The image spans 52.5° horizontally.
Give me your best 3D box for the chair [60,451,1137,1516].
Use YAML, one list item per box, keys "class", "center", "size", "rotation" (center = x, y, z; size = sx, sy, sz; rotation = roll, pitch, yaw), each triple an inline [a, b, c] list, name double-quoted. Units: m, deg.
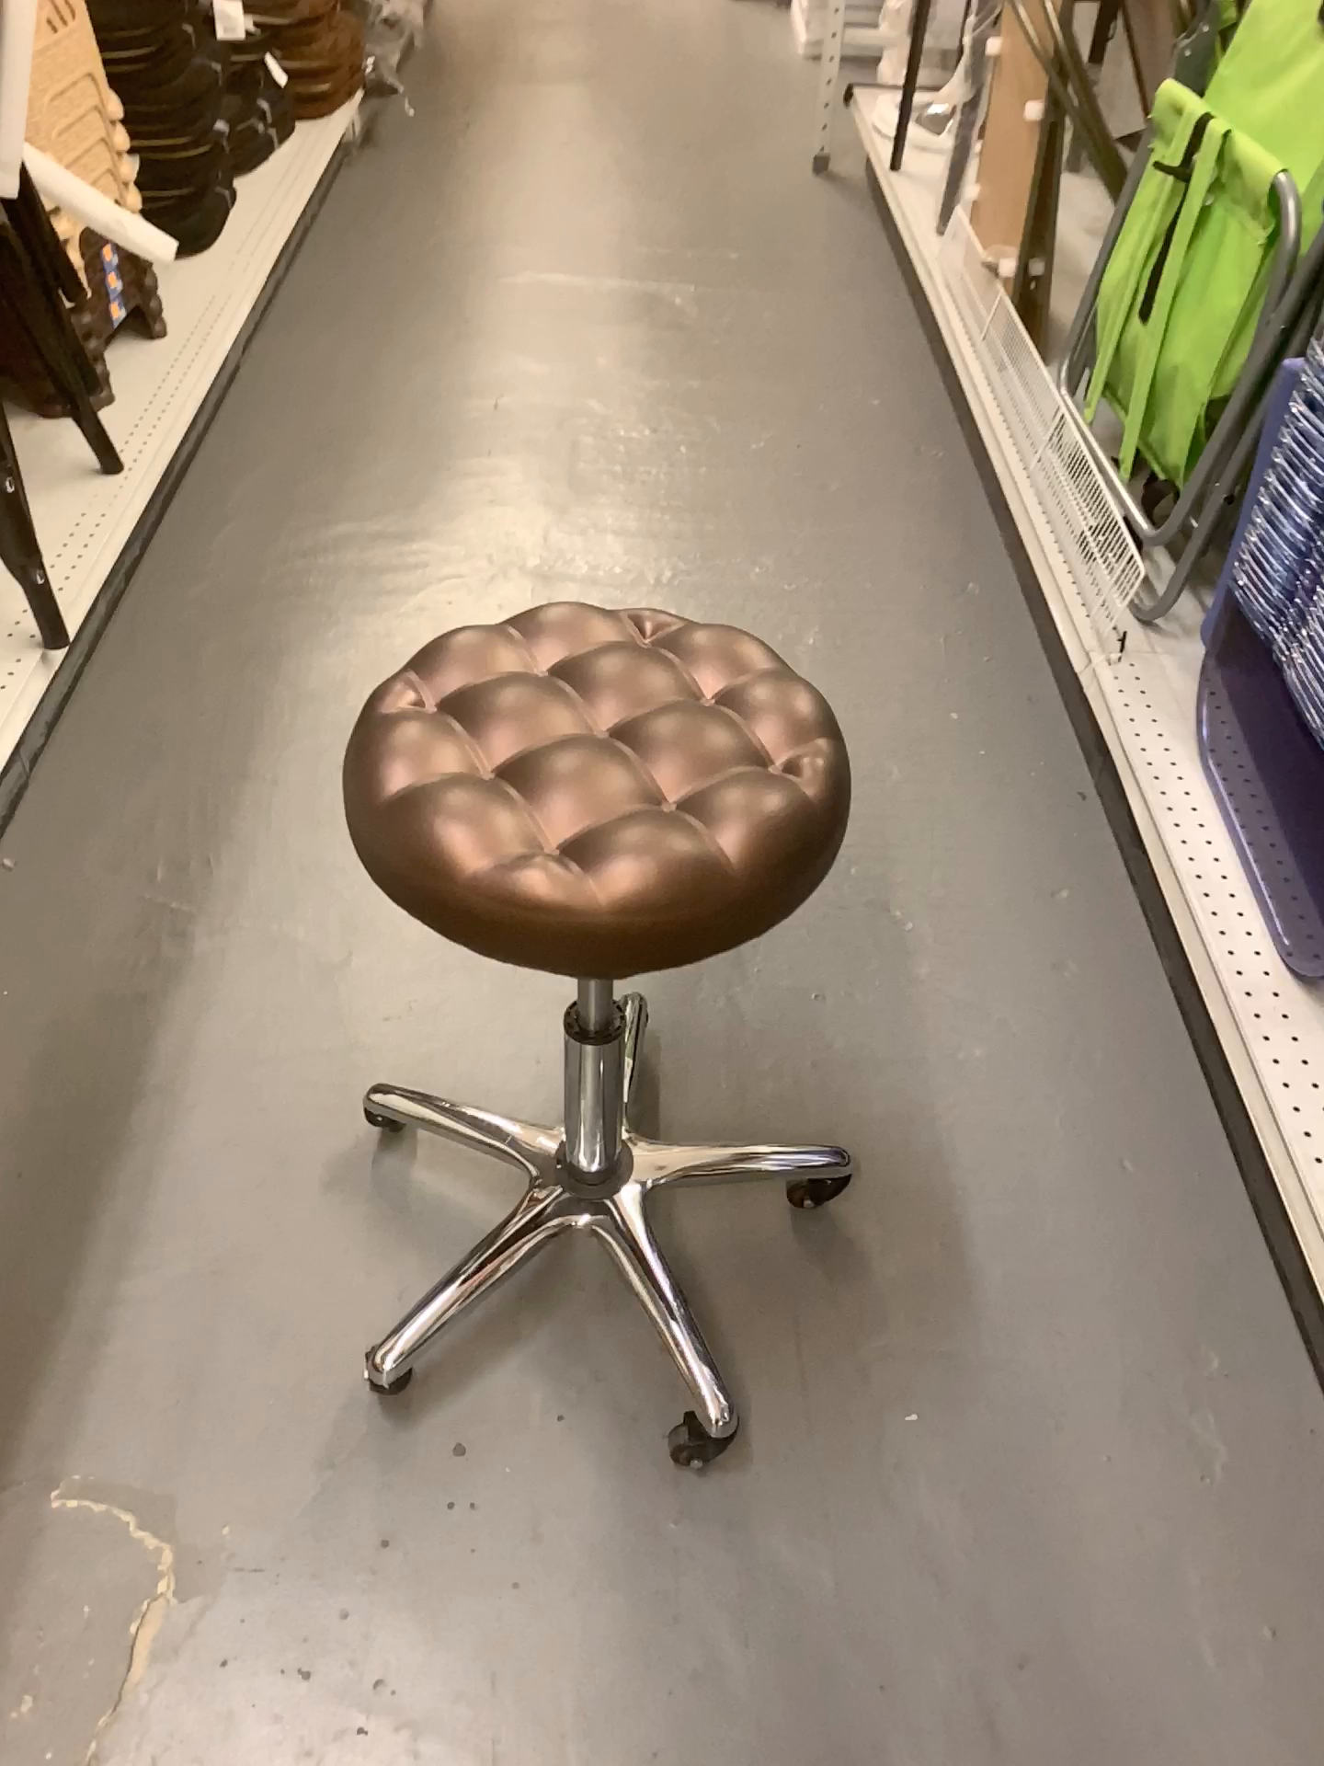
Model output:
- class: "chair"
  center: [-0.034, 0.080, 1.007]
  size: [0.501, 0.575, 0.513]
  rotation: [4, 43, 0]
